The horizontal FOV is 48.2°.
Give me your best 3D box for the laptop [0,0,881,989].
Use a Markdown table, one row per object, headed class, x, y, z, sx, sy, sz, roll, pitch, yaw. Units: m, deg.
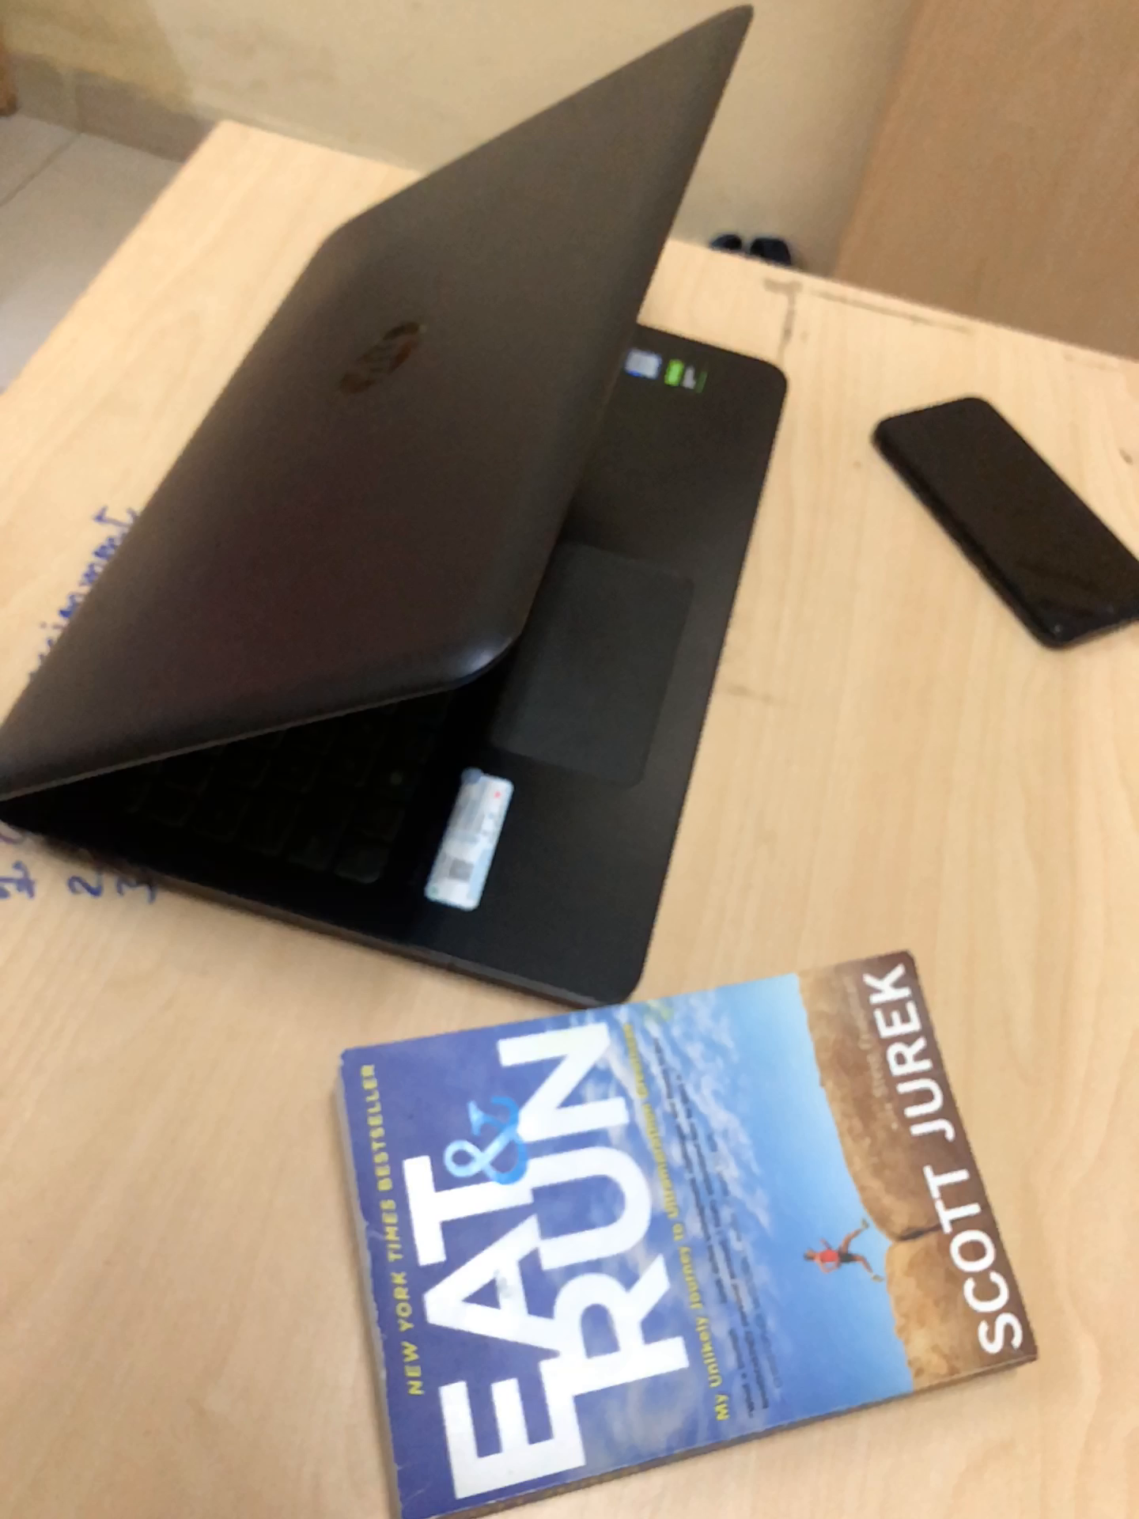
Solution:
| class | x | y | z | sx | sy | sz | roll | pitch | yaw |
| --- | --- | --- | --- | --- | --- | --- | --- | --- | --- |
| laptop | -0.036 | -0.136 | 0.499 | 0.230 | 0.167 | 0.361 | 16 | 55 | 2 |
